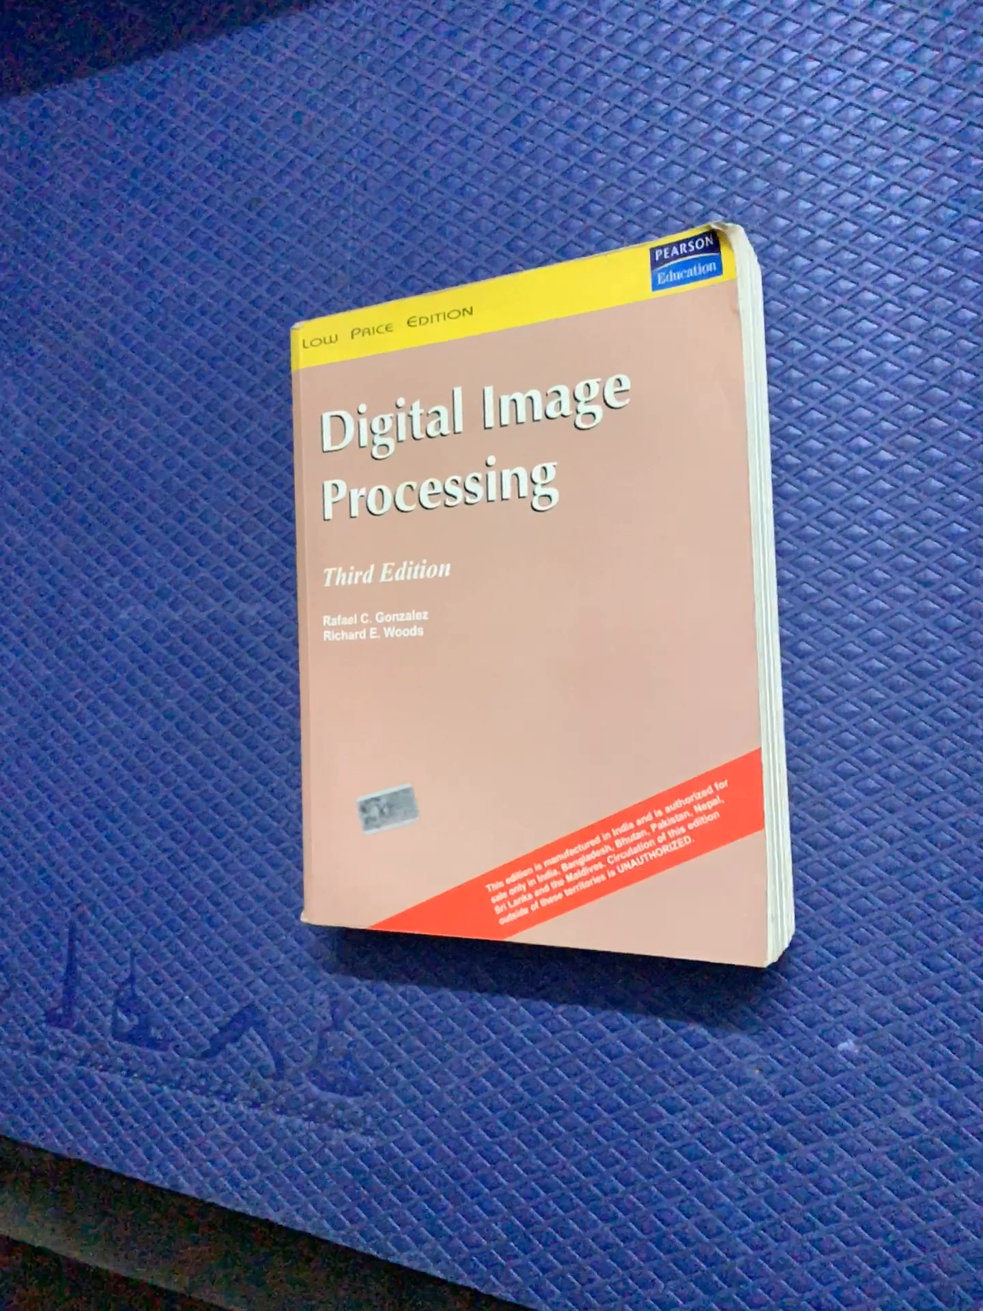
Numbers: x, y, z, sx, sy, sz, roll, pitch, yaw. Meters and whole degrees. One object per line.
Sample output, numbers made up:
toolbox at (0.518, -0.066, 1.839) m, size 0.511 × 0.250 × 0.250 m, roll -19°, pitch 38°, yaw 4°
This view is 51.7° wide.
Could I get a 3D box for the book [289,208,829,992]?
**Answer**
book at (0.018, -0.014, 0.346) m, size 0.175 × 0.045 × 0.225 m, roll -2°, pitch 87°, yaw 24°
